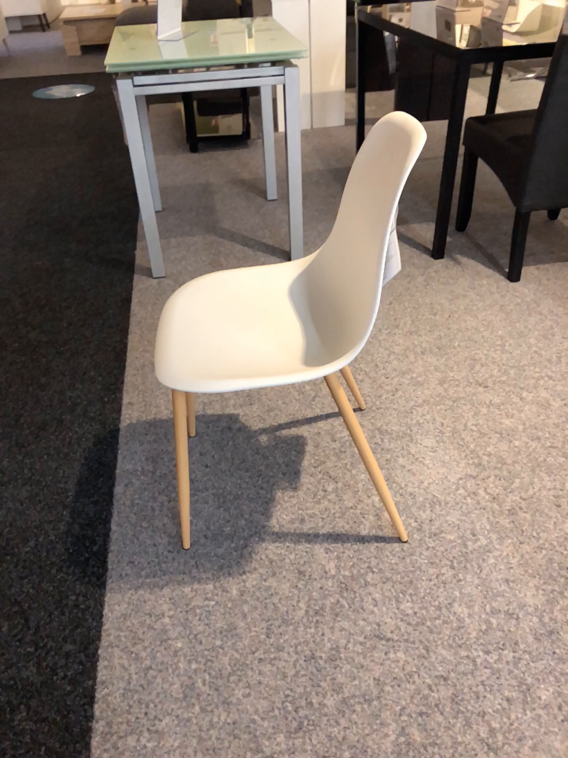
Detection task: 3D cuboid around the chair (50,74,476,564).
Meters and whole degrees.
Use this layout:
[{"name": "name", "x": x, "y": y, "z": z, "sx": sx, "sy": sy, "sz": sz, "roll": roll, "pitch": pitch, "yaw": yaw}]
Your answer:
[{"name": "chair", "x": -0.030, "y": -0.129, "z": 1.353, "sx": 0.600, "sy": 0.845, "sz": 0.573, "roll": -4, "pitch": 36, "yaw": -2}]
